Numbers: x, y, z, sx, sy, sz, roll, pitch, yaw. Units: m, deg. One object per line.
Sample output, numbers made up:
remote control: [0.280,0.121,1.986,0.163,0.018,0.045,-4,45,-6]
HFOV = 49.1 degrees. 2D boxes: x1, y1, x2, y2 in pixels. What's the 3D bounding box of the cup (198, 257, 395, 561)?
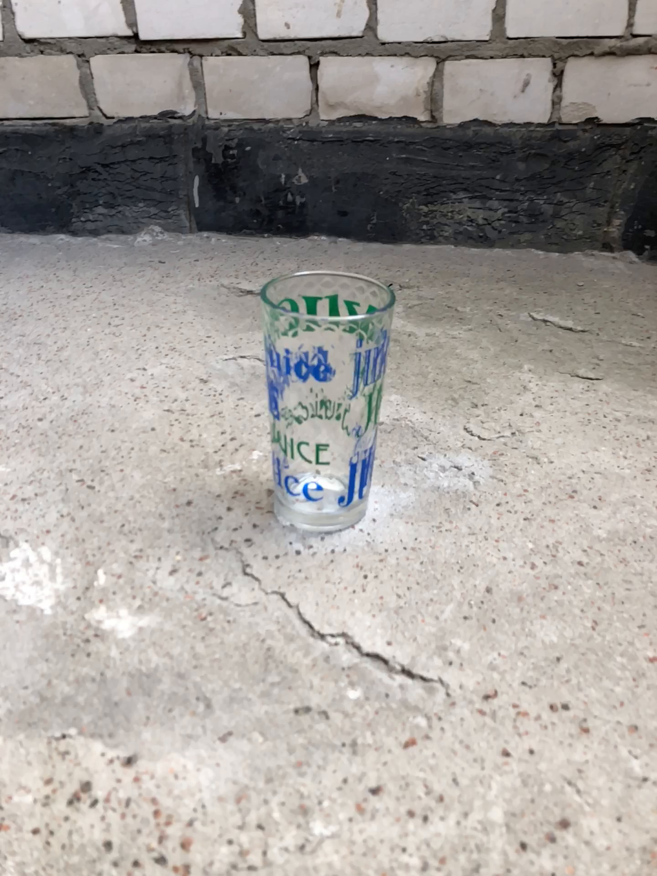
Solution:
cup: [-0.014,-0.016,0.363,0.067,0.125,0.066,0,30,0]
